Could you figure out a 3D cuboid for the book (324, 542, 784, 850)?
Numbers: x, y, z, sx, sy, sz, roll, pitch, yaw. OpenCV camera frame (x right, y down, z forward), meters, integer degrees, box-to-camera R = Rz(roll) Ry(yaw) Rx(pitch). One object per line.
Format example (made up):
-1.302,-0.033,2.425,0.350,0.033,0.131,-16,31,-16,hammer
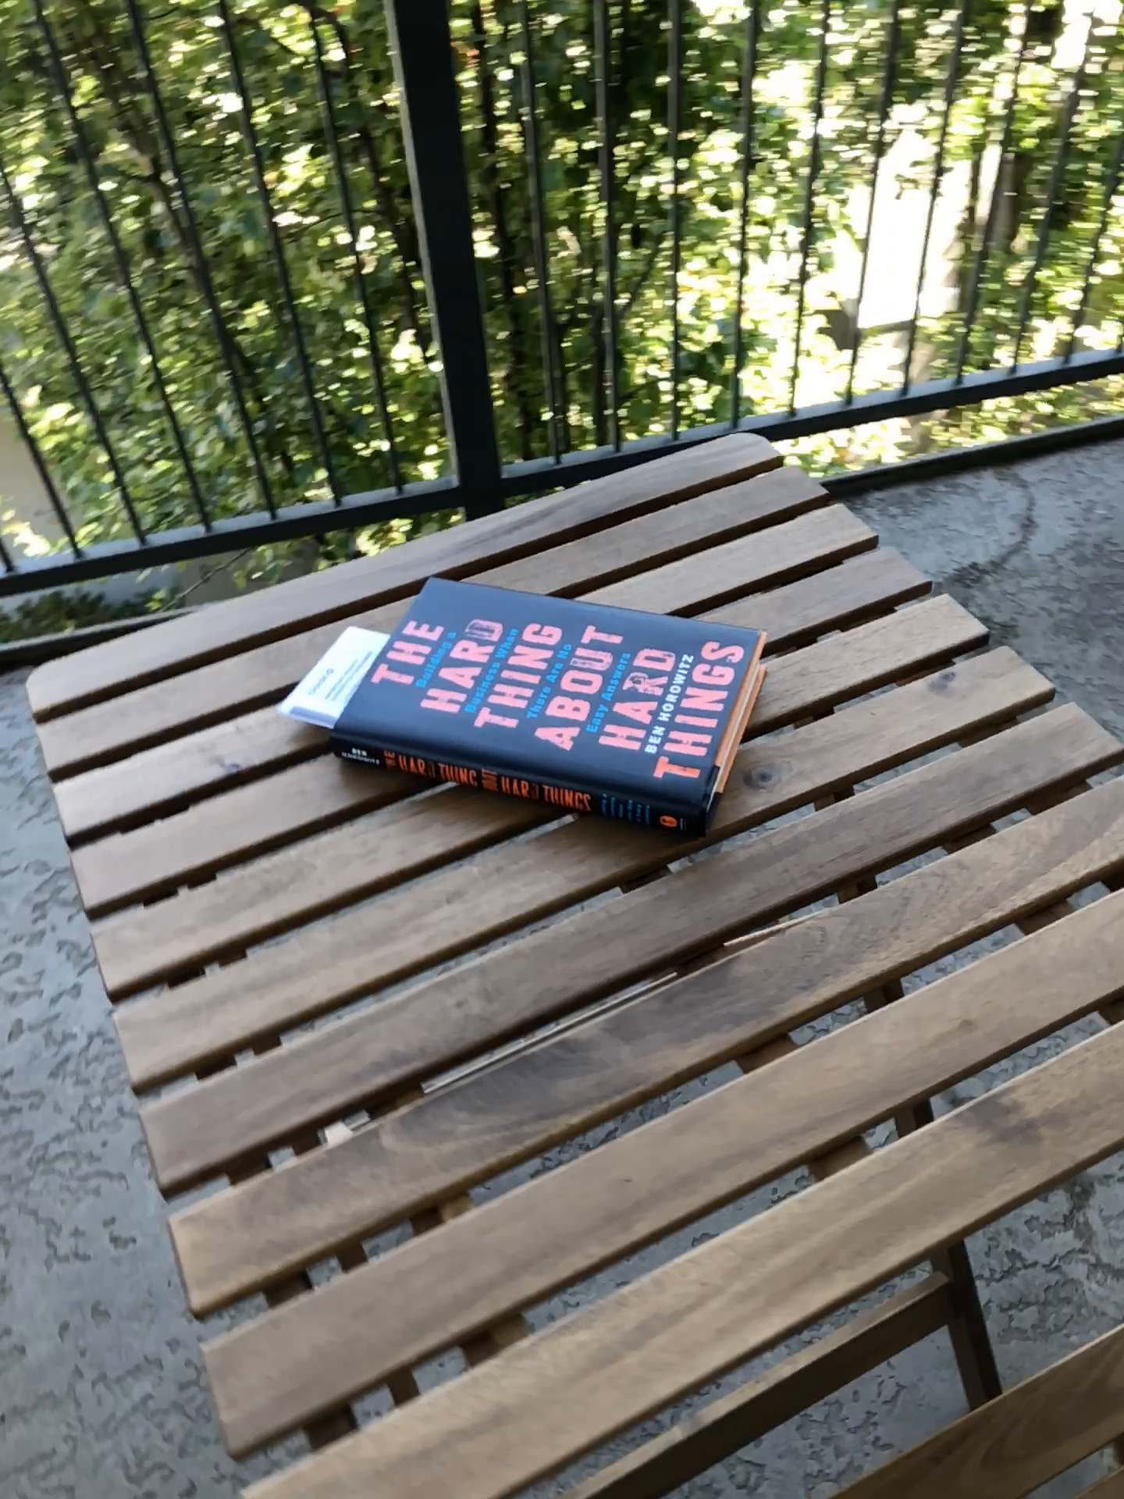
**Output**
0.001,-0.043,0.788,0.240,0.040,0.181,12,48,16,book
